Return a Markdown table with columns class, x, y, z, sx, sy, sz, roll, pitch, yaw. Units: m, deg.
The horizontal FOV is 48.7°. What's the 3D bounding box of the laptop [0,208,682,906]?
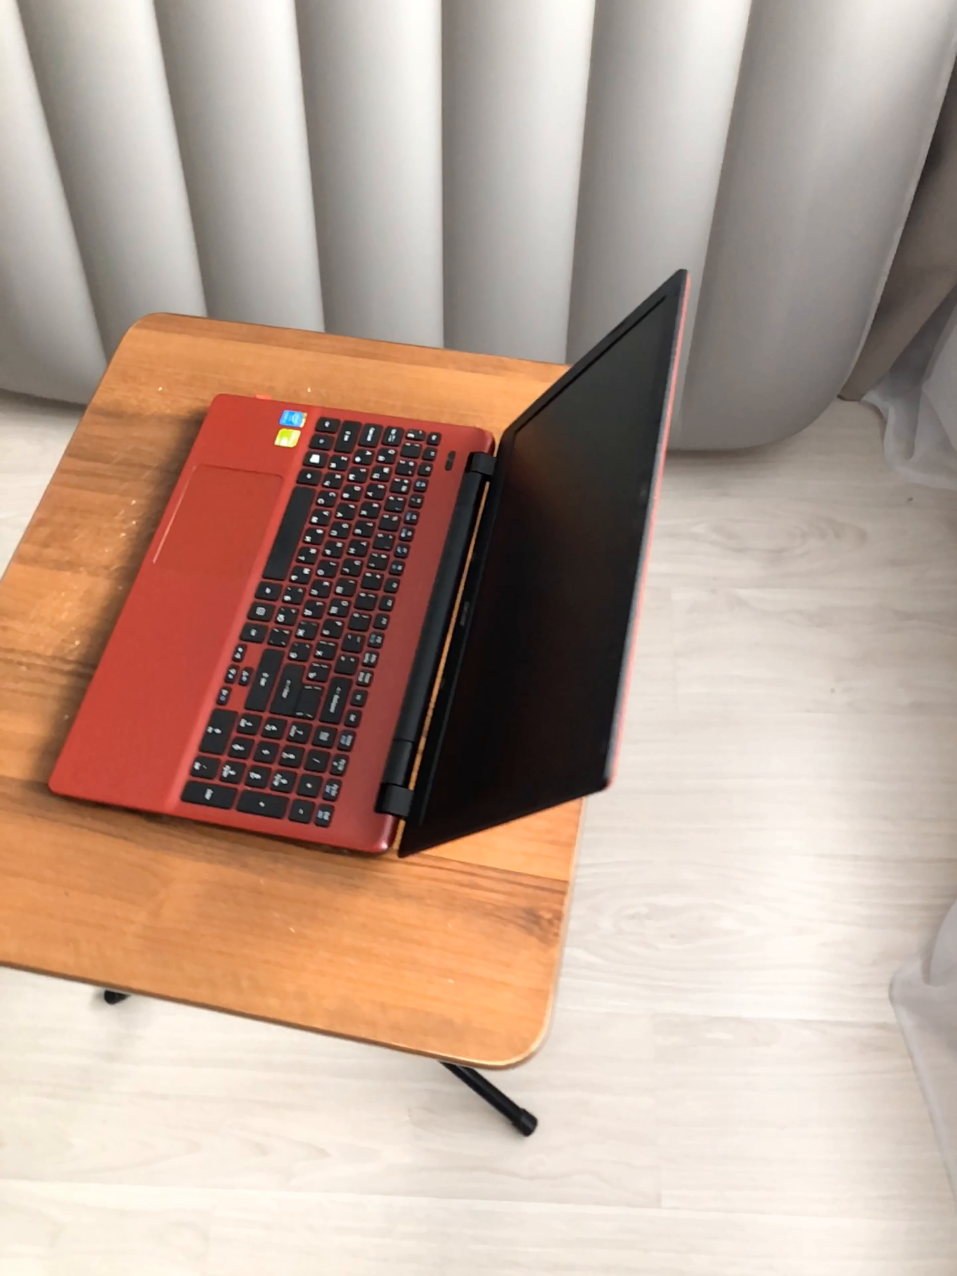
| class | x | y | z | sx | sy | sz | roll | pitch | yaw |
| --- | --- | --- | --- | --- | --- | --- | --- | --- | --- |
| laptop | -0.085 | -0.067 | 0.718 | 0.381 | 0.191 | 0.372 | 10 | 61 | 8 |
